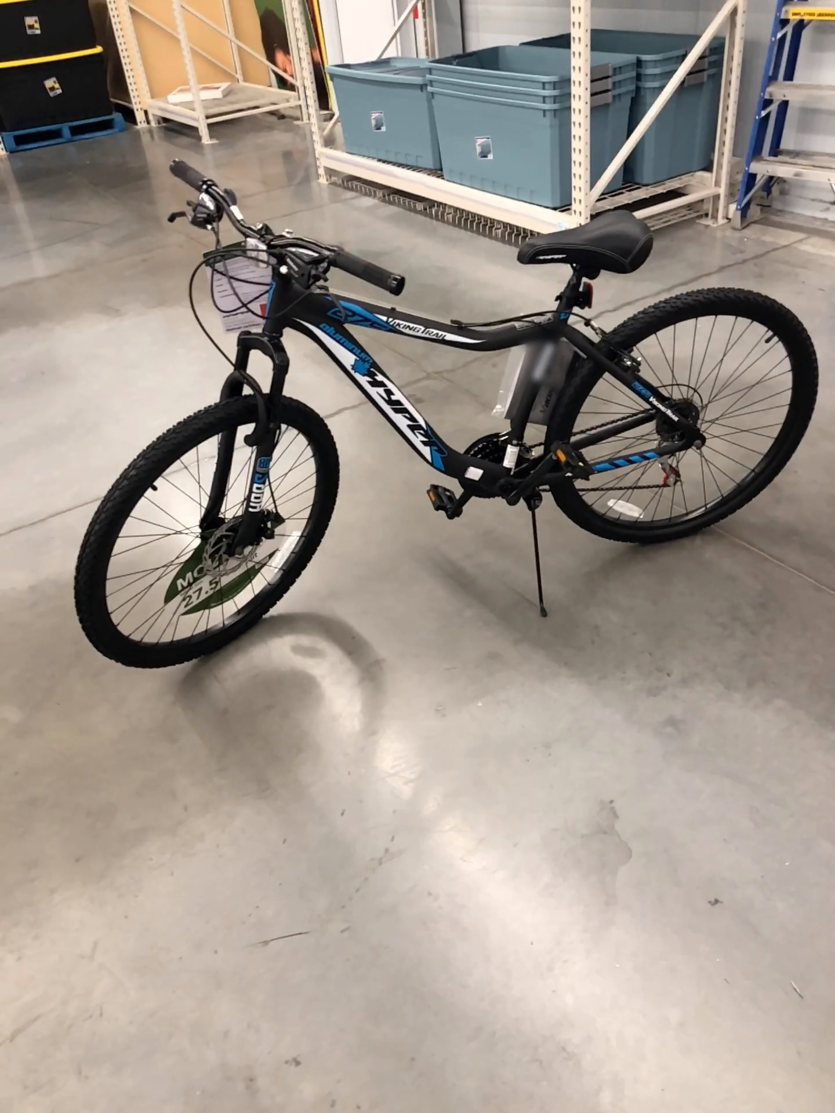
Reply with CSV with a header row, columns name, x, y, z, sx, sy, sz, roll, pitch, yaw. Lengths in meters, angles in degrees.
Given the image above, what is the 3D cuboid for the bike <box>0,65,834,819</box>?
name,x,y,z,sx,sy,sz,roll,pitch,yaw
bike,0.124,-0.288,1.877,1.633,0.986,0.575,-17,37,-13
